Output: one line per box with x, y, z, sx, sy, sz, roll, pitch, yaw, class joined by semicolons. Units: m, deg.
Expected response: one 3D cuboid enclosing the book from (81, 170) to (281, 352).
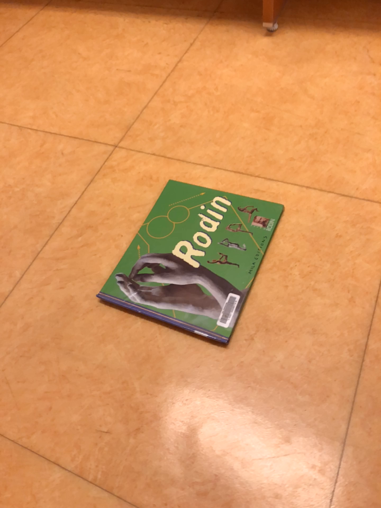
-0.005;-0.008;0.598;0.200;0.030;0.244;16;58;20;book
